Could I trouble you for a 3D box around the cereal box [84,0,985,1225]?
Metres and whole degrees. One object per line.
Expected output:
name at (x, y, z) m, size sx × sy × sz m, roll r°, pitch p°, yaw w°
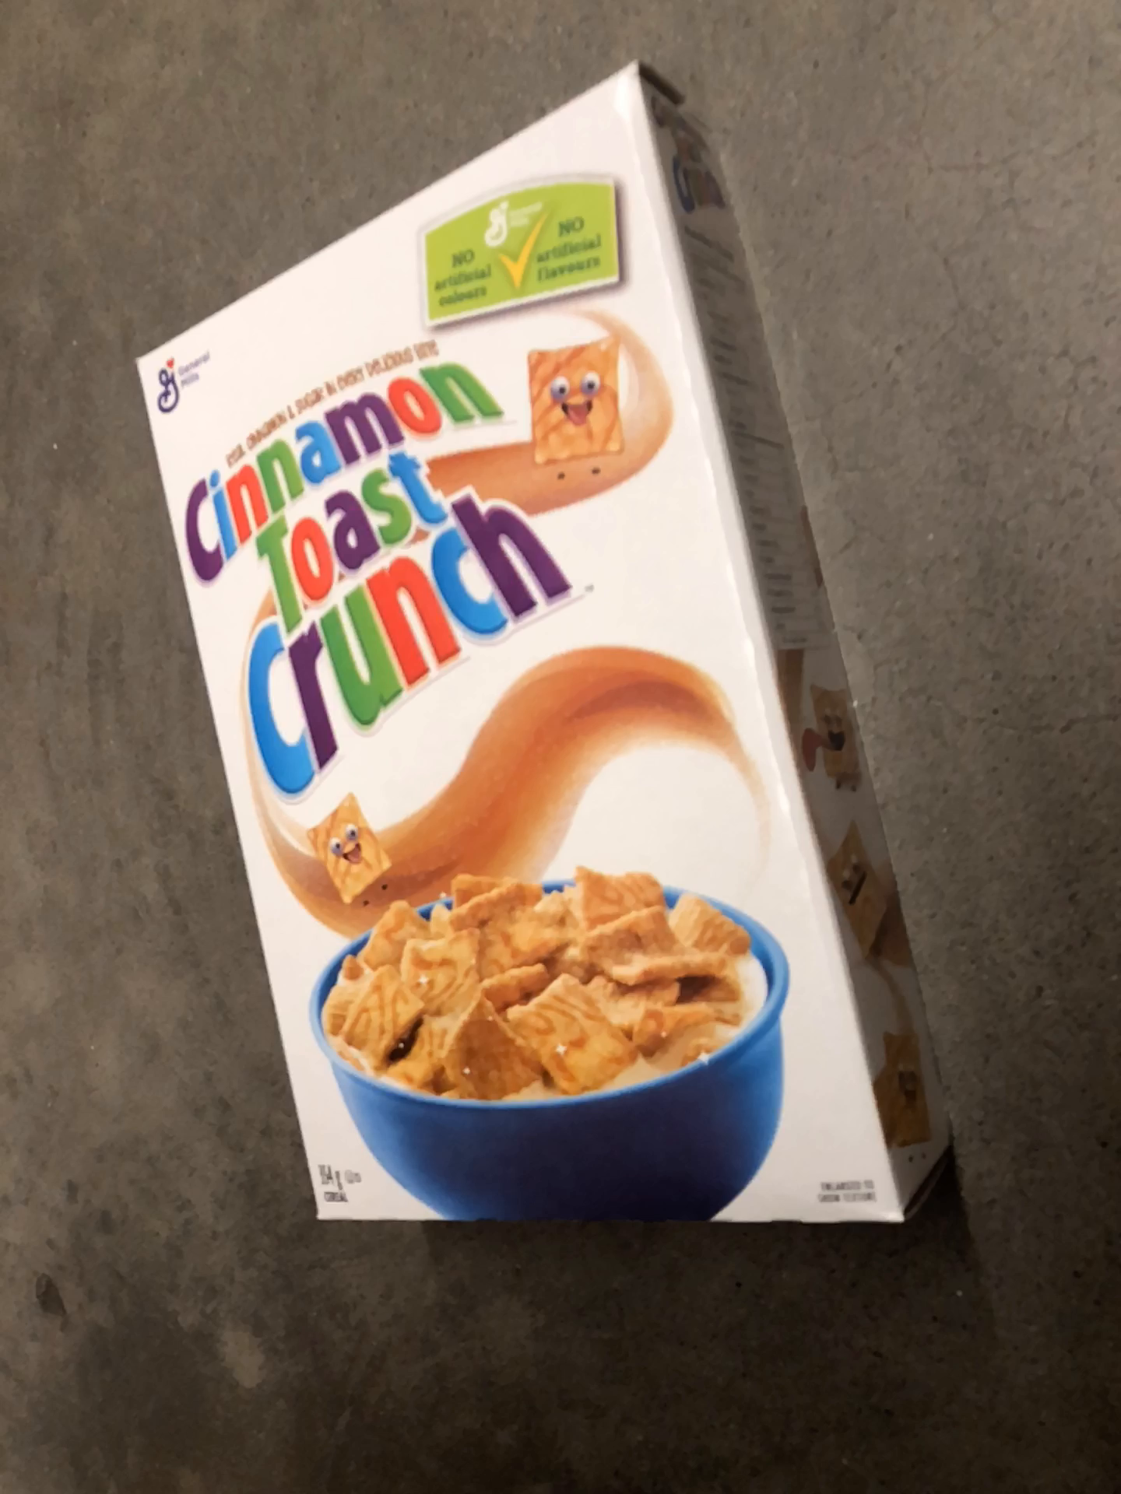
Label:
cereal box at (-0.020, -0.017, 0.355) m, size 0.201 × 0.060 × 0.290 m, roll -15°, pitch 89°, yaw 34°
